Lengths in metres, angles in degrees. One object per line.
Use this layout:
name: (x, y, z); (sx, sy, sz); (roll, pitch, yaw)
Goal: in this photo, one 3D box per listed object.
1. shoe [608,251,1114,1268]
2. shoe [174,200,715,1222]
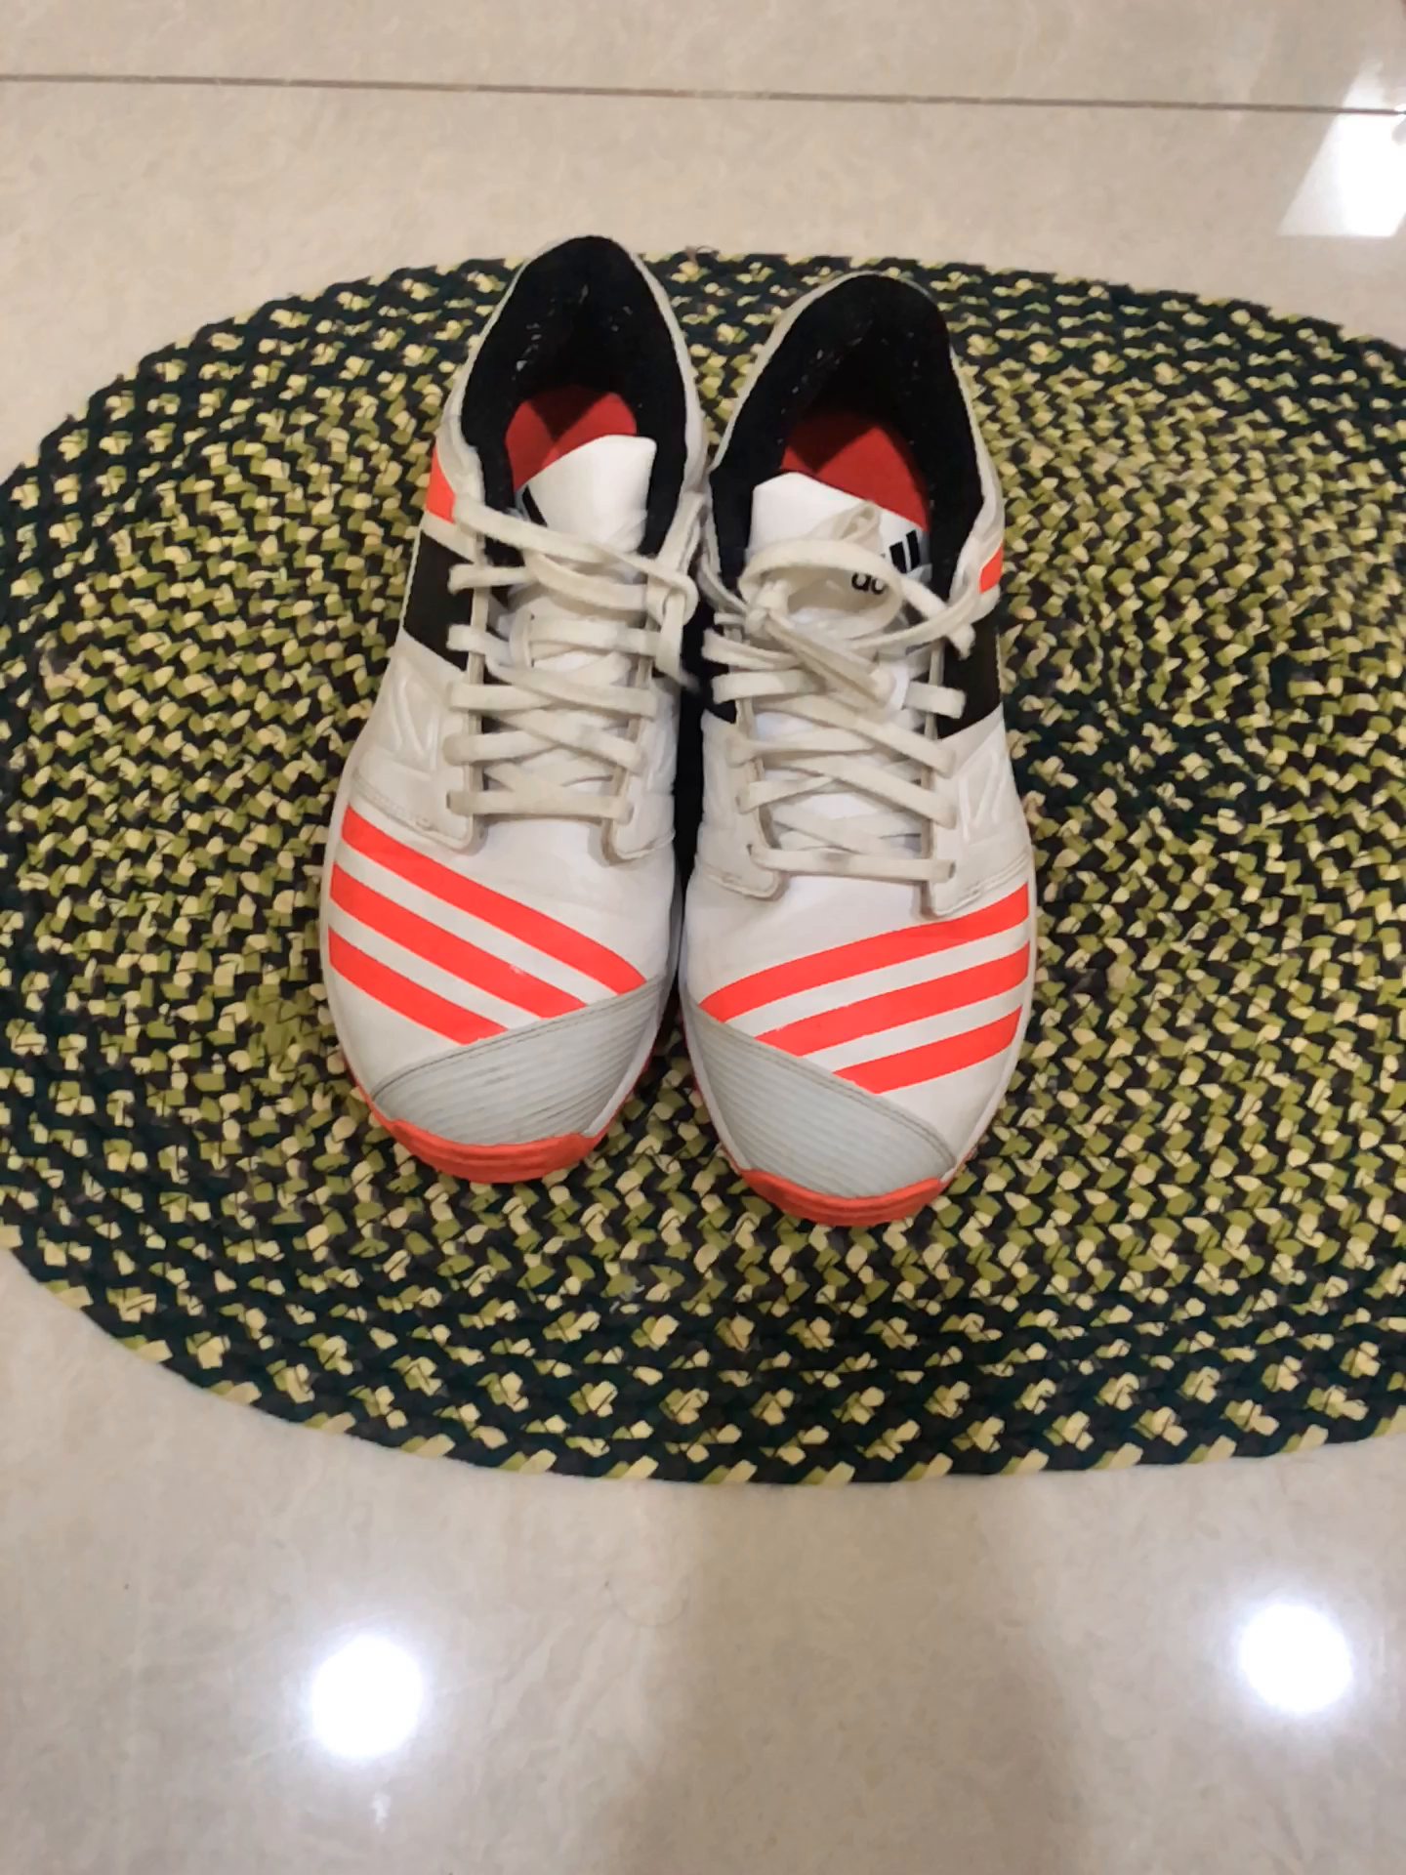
shoe: (0.043, -0.048, 0.429); (0.110, 0.100, 0.250); (6, 69, -1)
shoe: (-0.060, -0.067, 0.444); (0.100, 0.090, 0.270); (6, 69, -1)
